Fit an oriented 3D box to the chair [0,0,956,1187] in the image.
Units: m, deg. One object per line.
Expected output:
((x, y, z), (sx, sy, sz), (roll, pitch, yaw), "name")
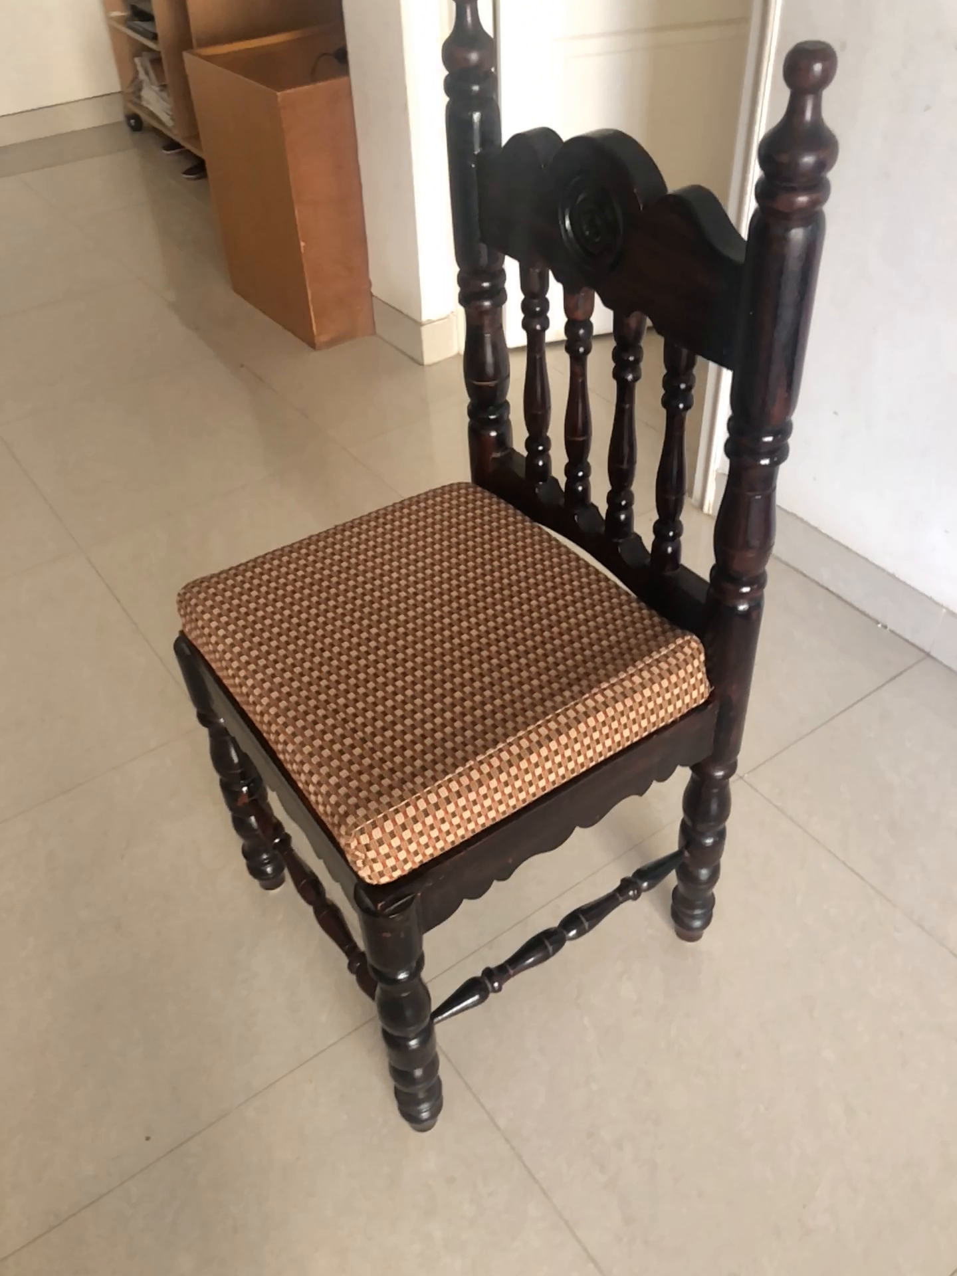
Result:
((0.006, -0.038, 1.072), (0.561, 1.022, 0.503), (-25, 46, -24), "chair")
